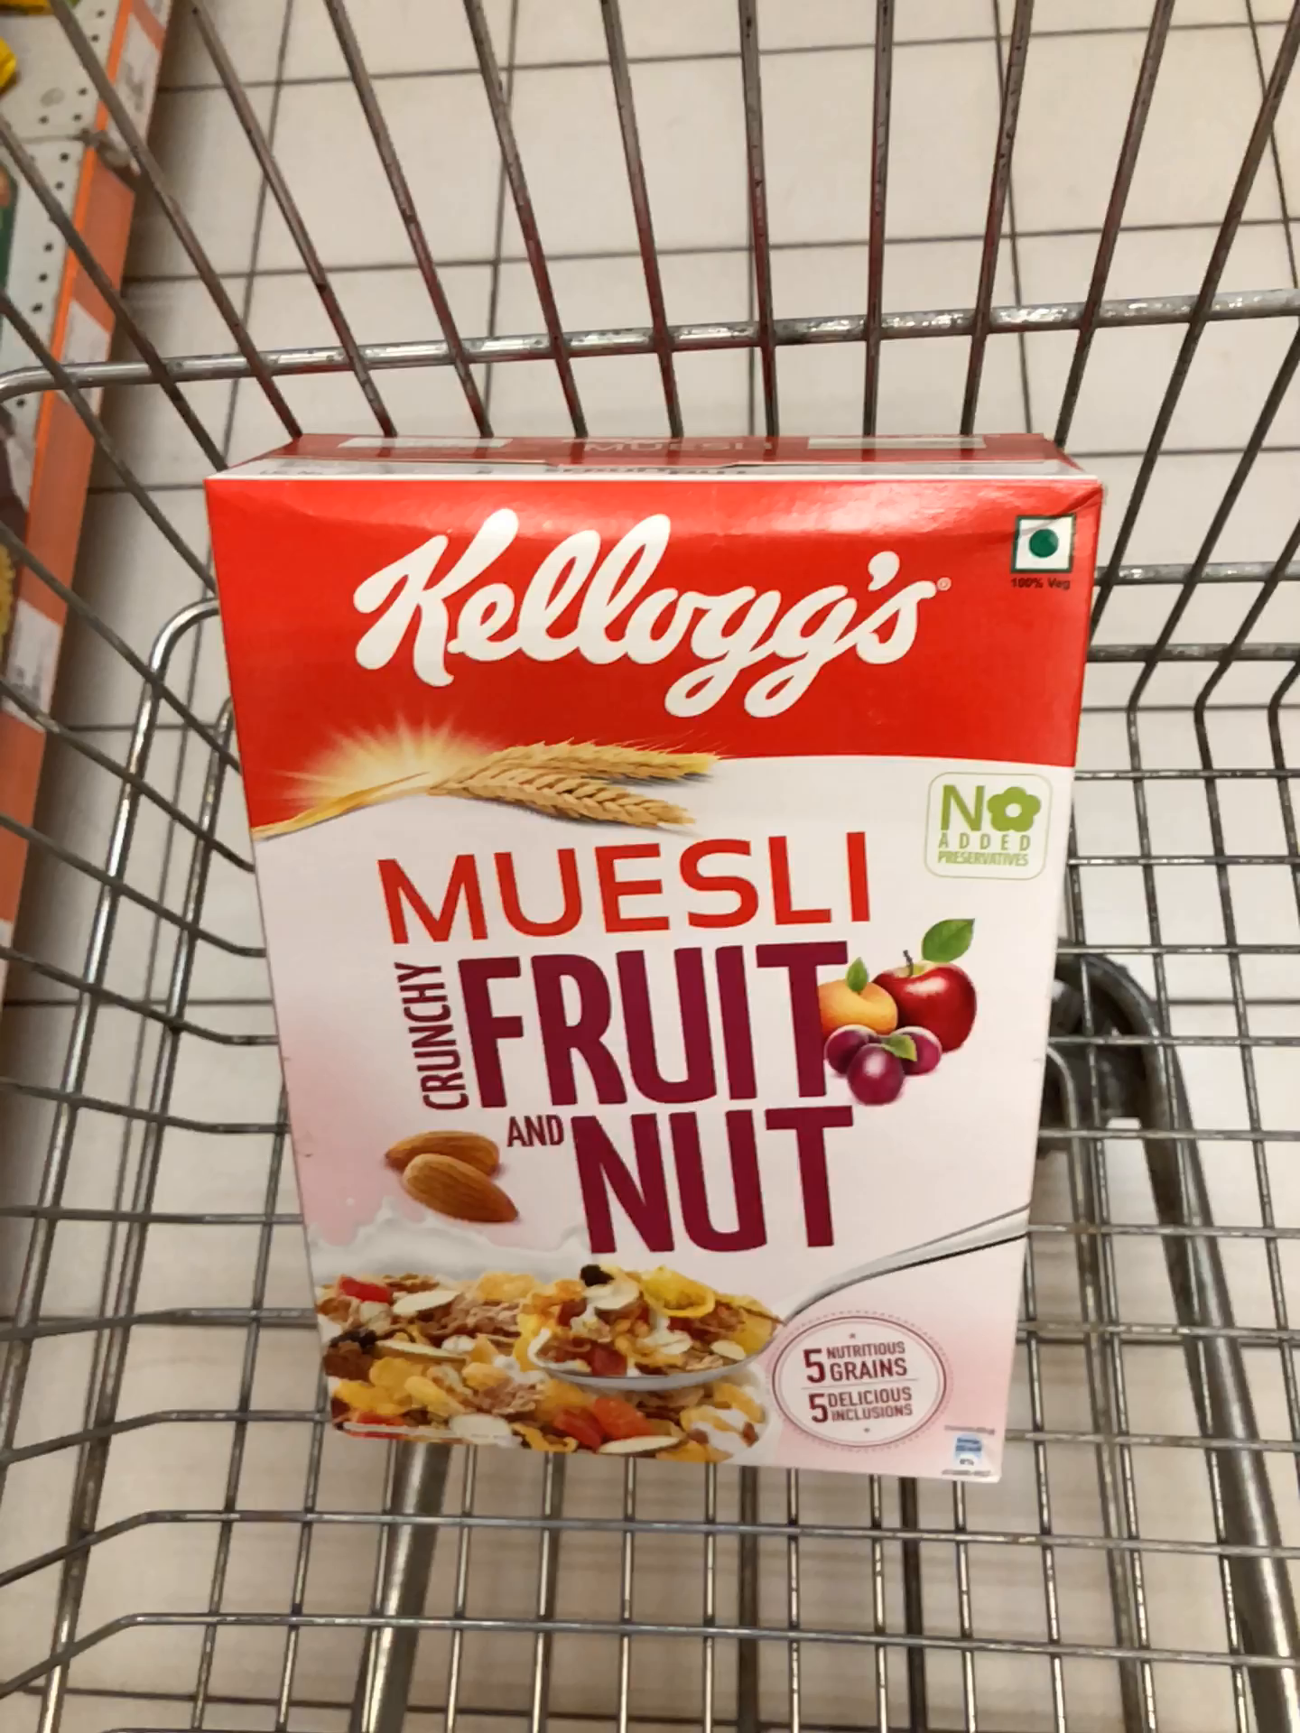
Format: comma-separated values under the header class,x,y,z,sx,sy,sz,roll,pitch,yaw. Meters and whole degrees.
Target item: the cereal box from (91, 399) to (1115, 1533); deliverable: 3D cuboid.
class,x,y,z,sx,sy,sz,roll,pitch,yaw
cereal box,-0.006,0.031,0.354,0.190,0.070,0.269,2,115,6
